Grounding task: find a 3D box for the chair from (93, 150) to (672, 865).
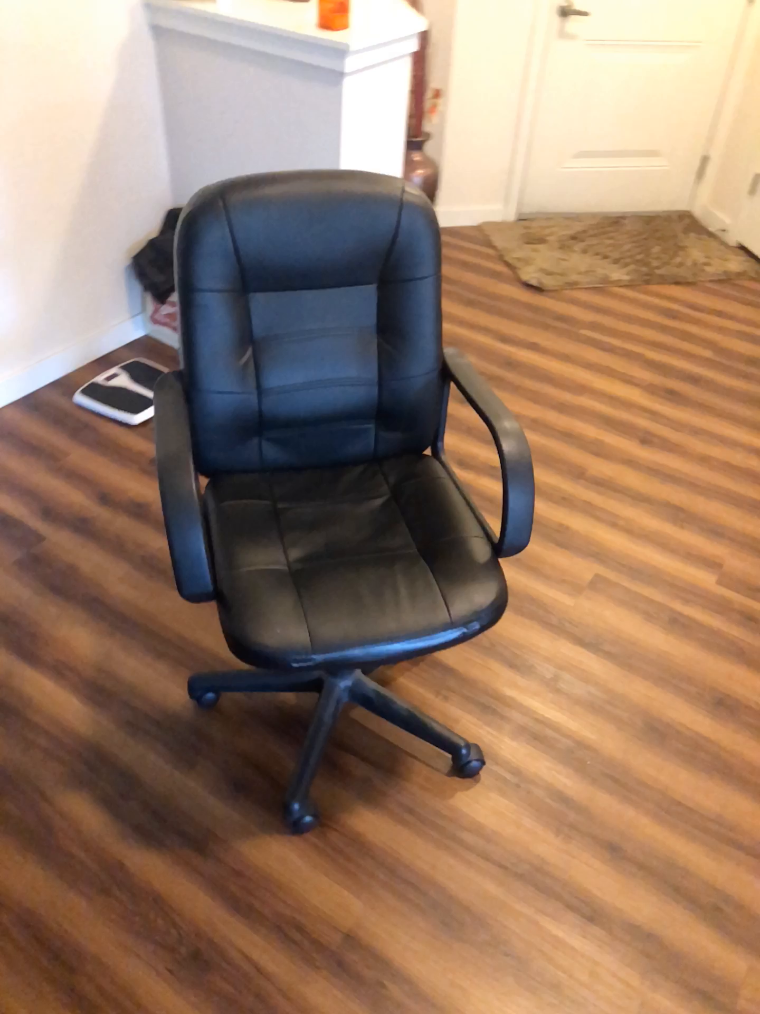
[{"bbox_3d":[-0.083,-0.001,1.503,0.663,1.012,0.670,-8,41,-14],"label":"chair"}]
